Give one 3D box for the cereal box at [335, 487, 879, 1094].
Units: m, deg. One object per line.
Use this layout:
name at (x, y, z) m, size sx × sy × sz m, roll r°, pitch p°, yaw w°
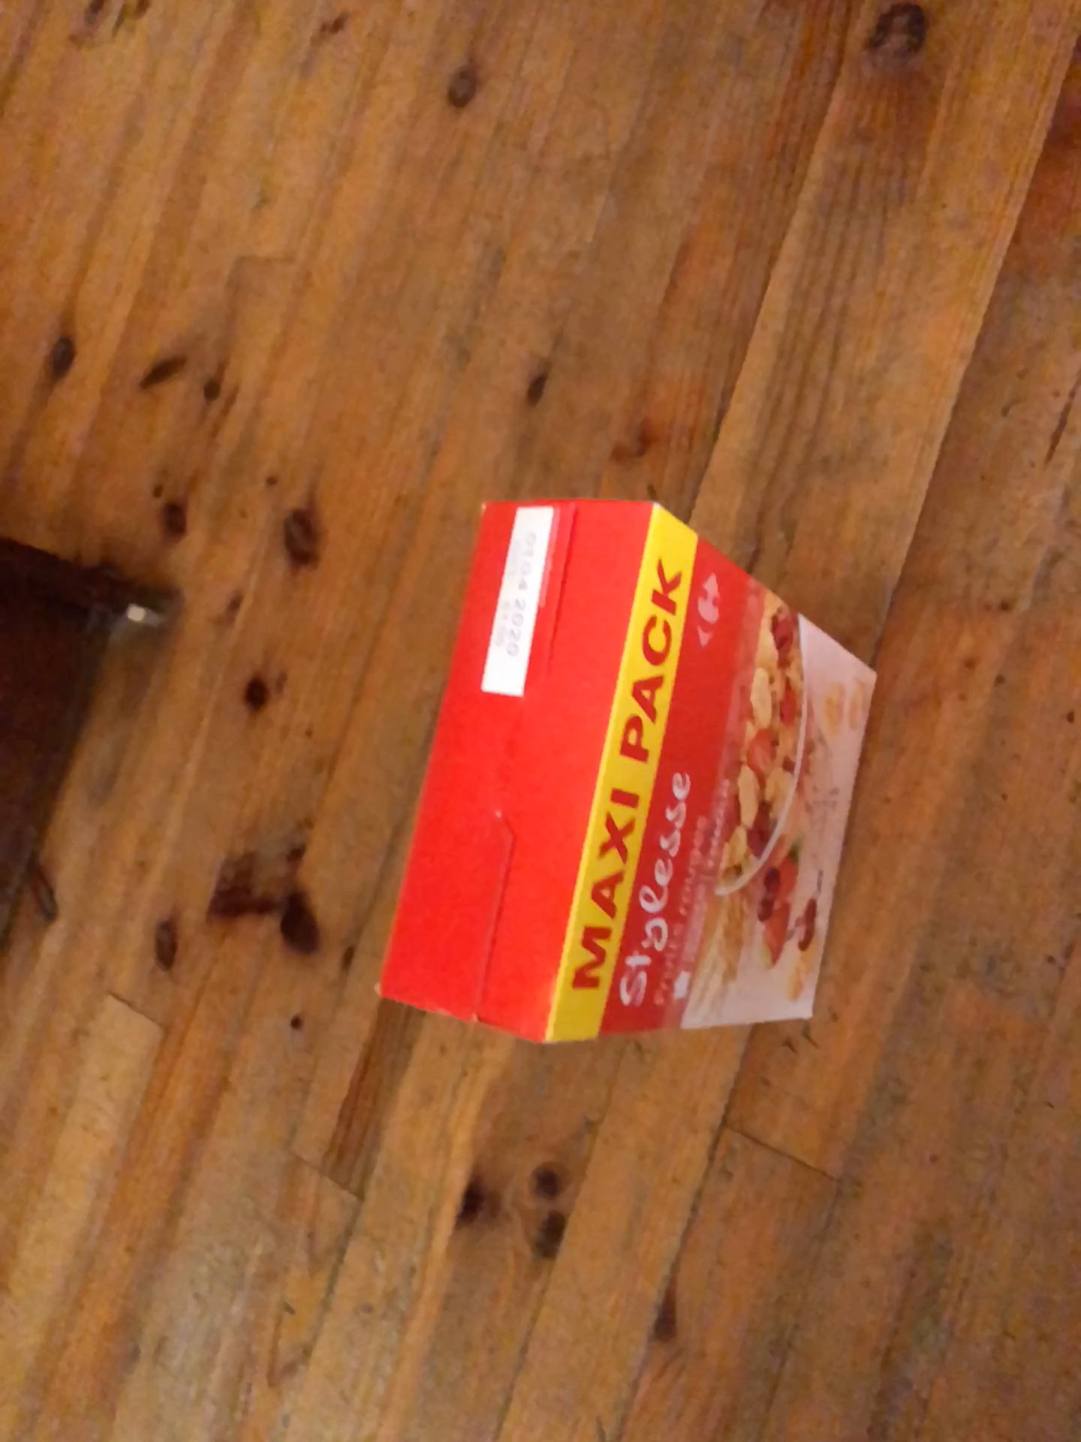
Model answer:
cereal box at (0.056, 0.044, 0.554) m, size 0.090 × 0.290 × 0.210 m, roll 8°, pitch 84°, yaw 32°
